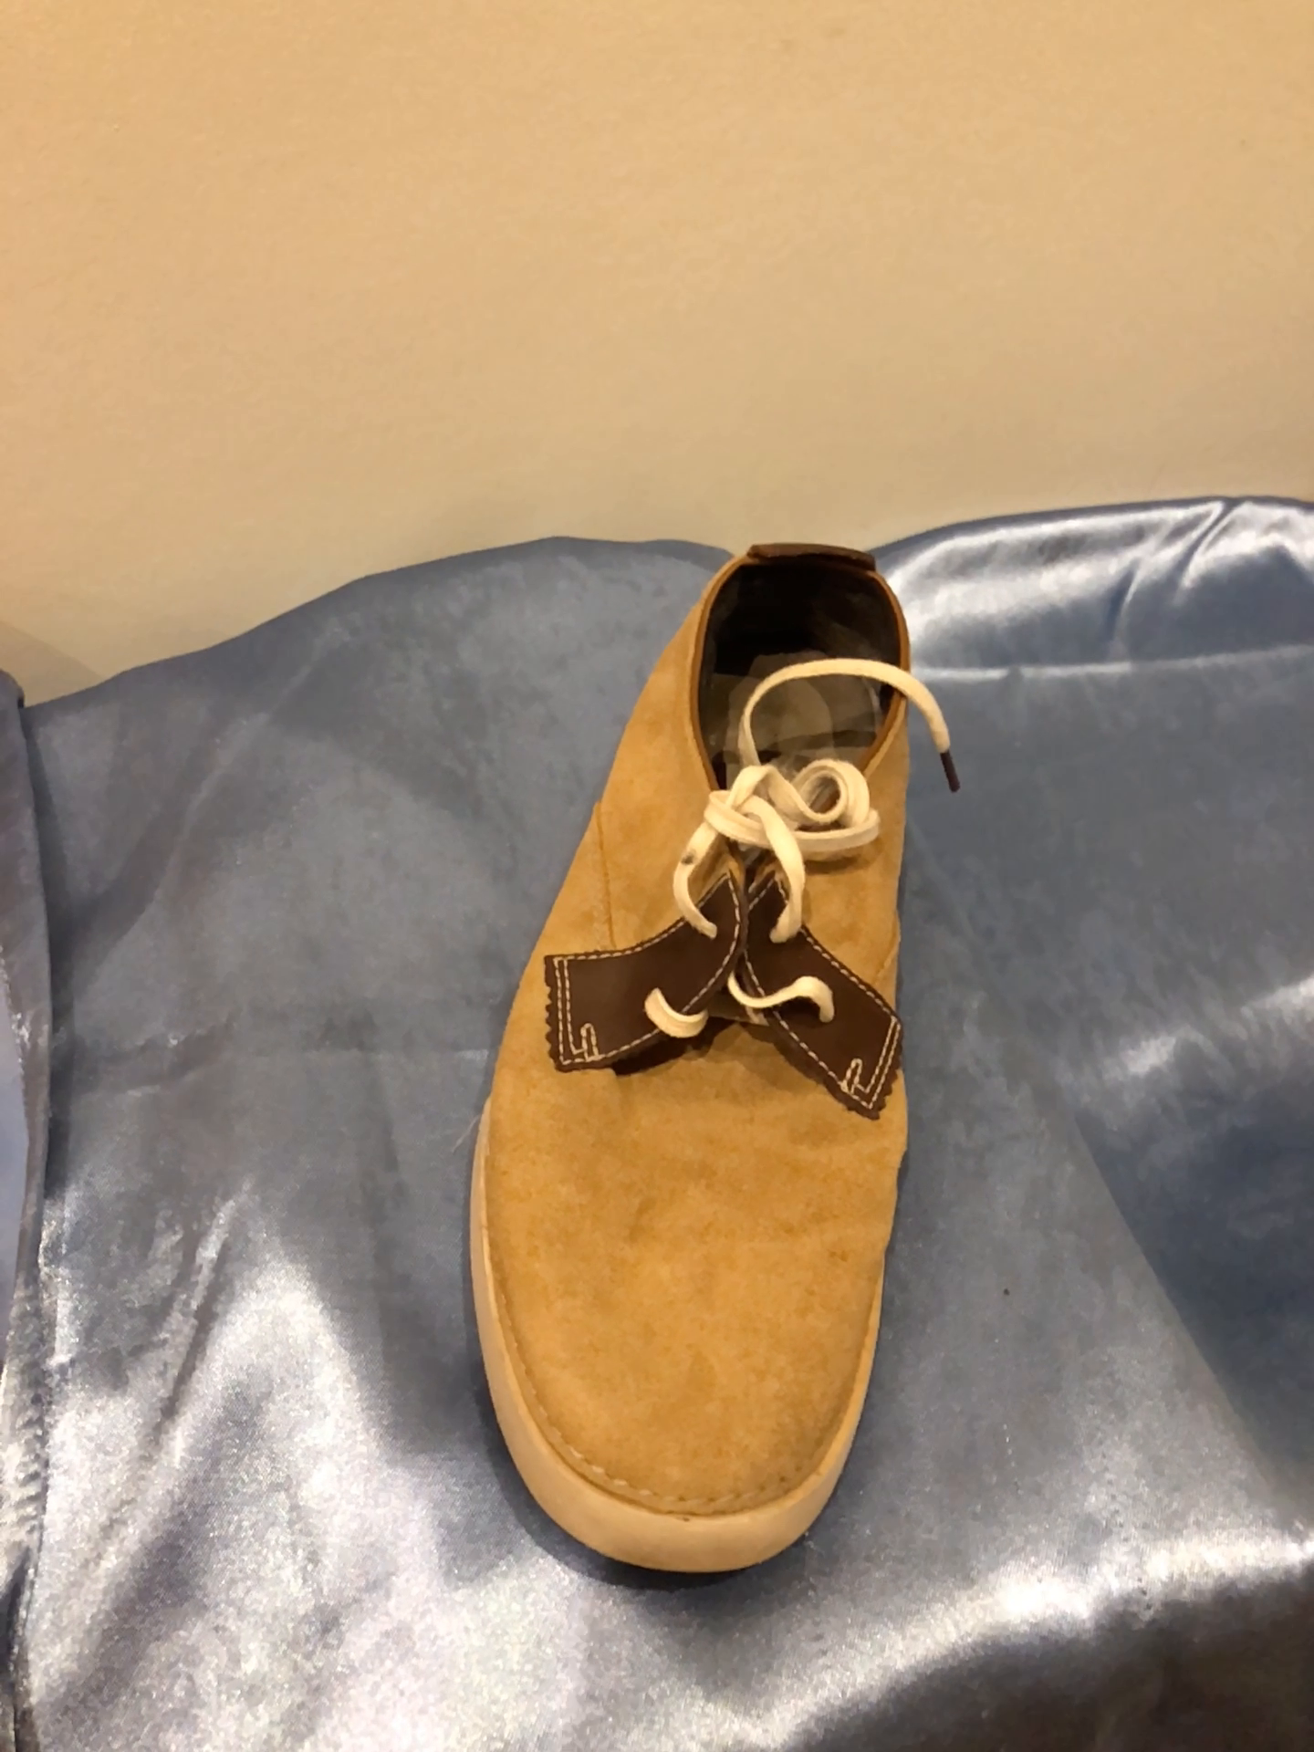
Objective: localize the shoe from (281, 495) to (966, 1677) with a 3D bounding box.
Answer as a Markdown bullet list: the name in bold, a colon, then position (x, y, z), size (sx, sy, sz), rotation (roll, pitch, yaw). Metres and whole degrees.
- **shoe**: position (0.011, 0.039, 0.415), size (0.120, 0.119, 0.302), rotation (9, 52, 5)
